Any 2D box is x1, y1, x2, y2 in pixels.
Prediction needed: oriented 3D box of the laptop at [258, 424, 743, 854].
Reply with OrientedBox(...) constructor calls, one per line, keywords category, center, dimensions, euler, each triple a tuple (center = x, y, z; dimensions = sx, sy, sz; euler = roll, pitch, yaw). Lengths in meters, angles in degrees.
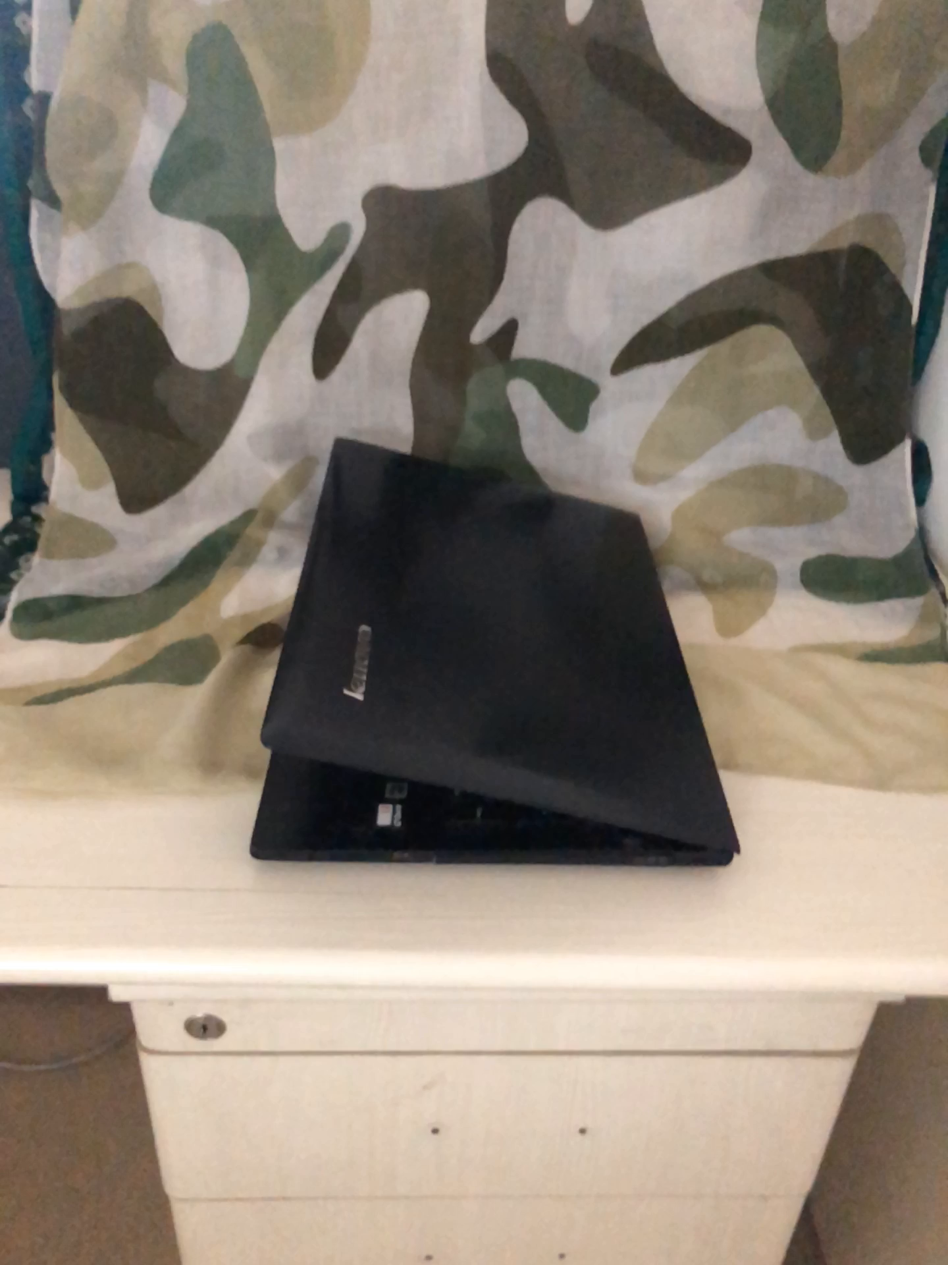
OrientedBox(category="laptop", center=(0.015, -0.024, 0.708), dimensions=(0.249, 0.059, 0.387), euler=(5, 34, -3))
